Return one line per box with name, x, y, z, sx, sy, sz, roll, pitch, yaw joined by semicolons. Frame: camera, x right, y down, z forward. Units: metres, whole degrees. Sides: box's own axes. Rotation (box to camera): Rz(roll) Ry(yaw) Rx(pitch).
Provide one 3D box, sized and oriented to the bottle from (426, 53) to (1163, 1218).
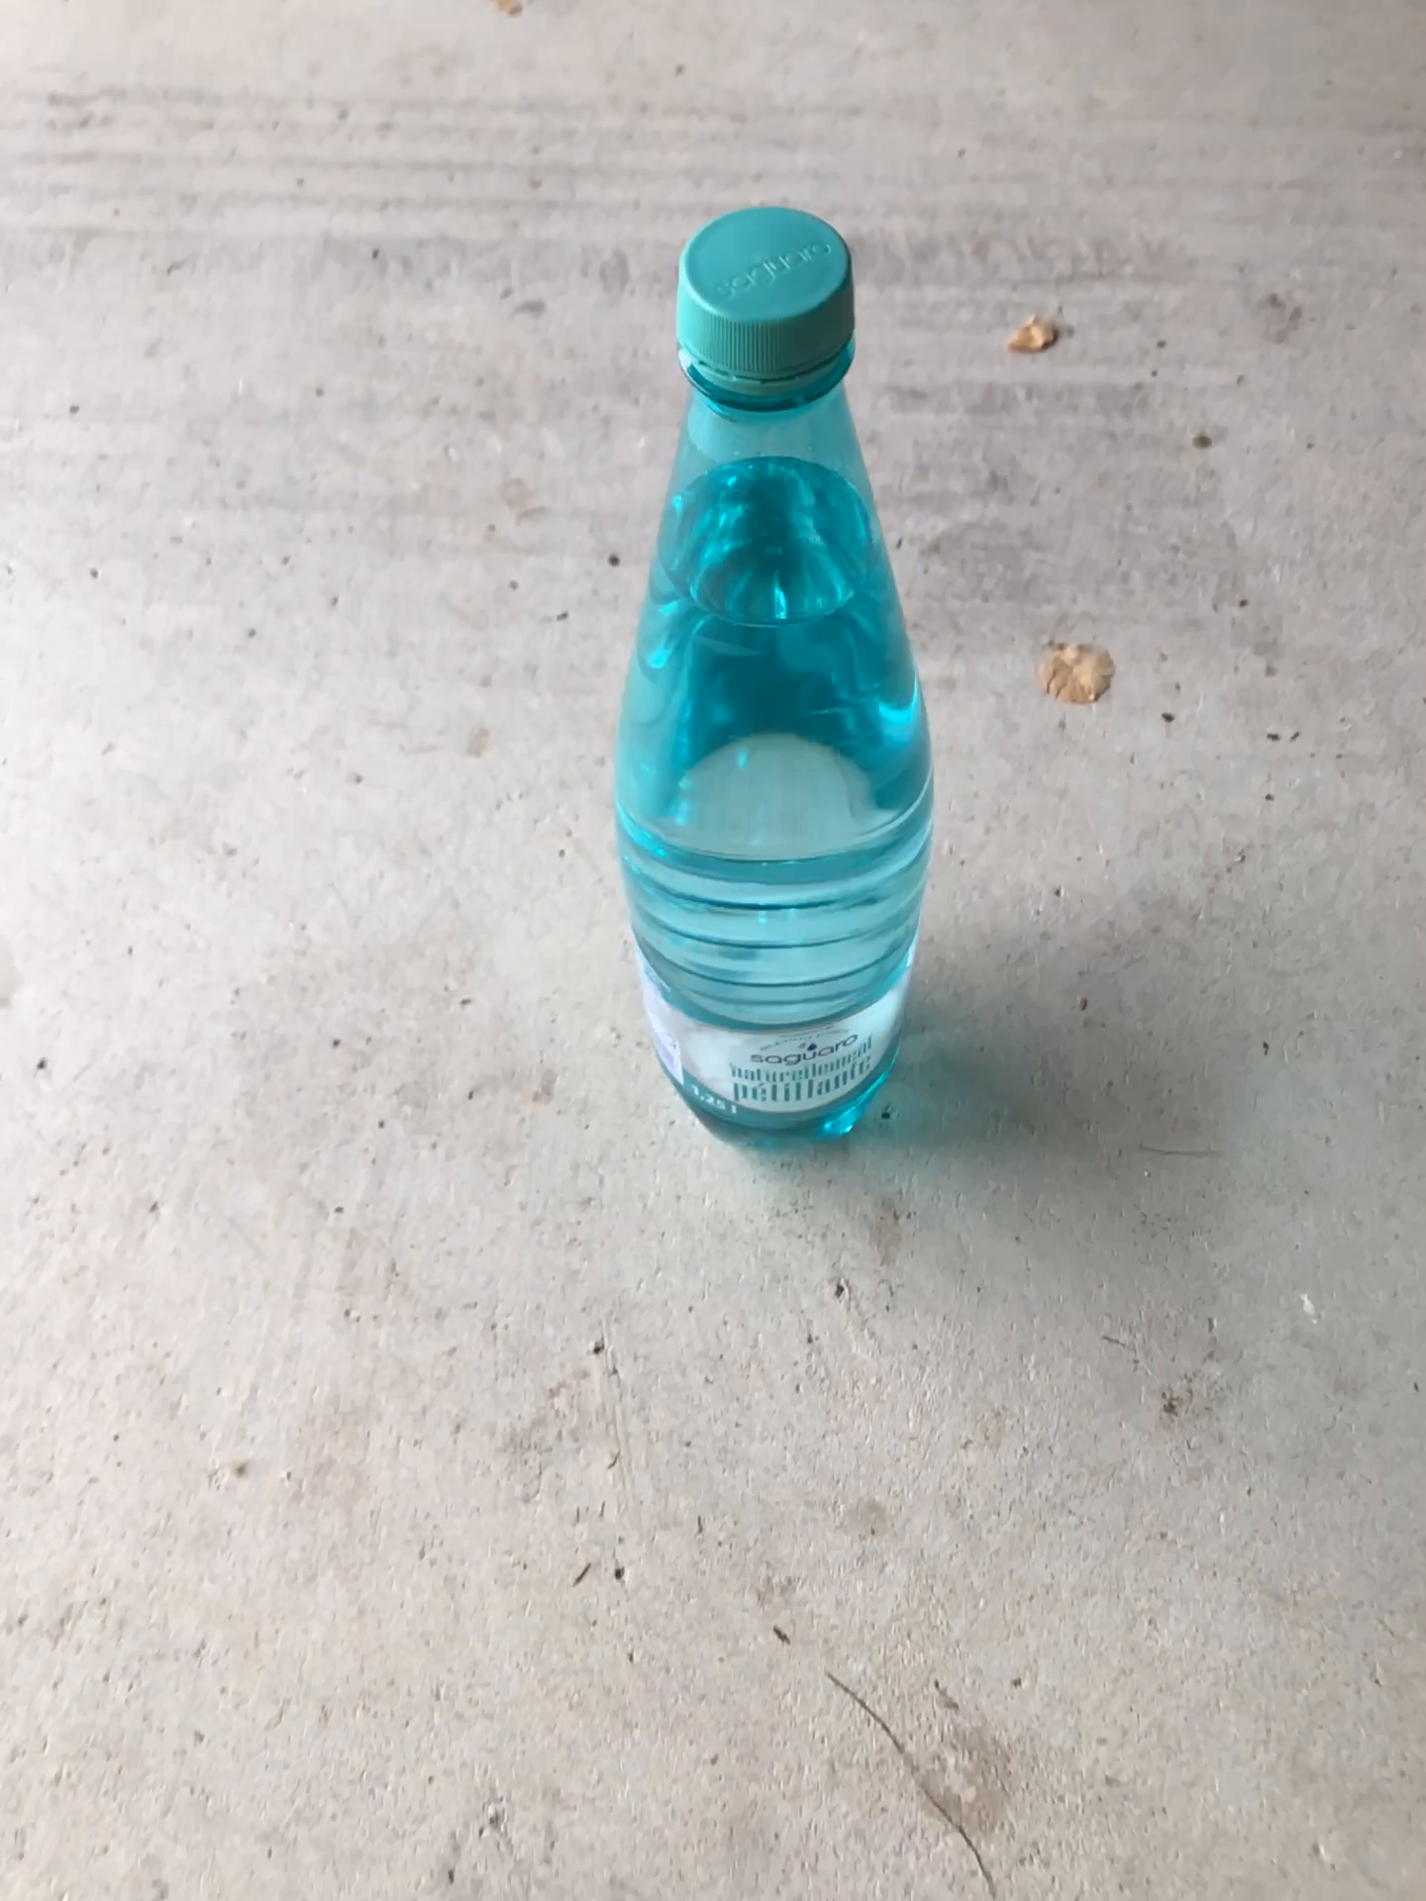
bottle;0.012;-0.034;0.388;0.100;0.319;0.090;-9;63;-3
